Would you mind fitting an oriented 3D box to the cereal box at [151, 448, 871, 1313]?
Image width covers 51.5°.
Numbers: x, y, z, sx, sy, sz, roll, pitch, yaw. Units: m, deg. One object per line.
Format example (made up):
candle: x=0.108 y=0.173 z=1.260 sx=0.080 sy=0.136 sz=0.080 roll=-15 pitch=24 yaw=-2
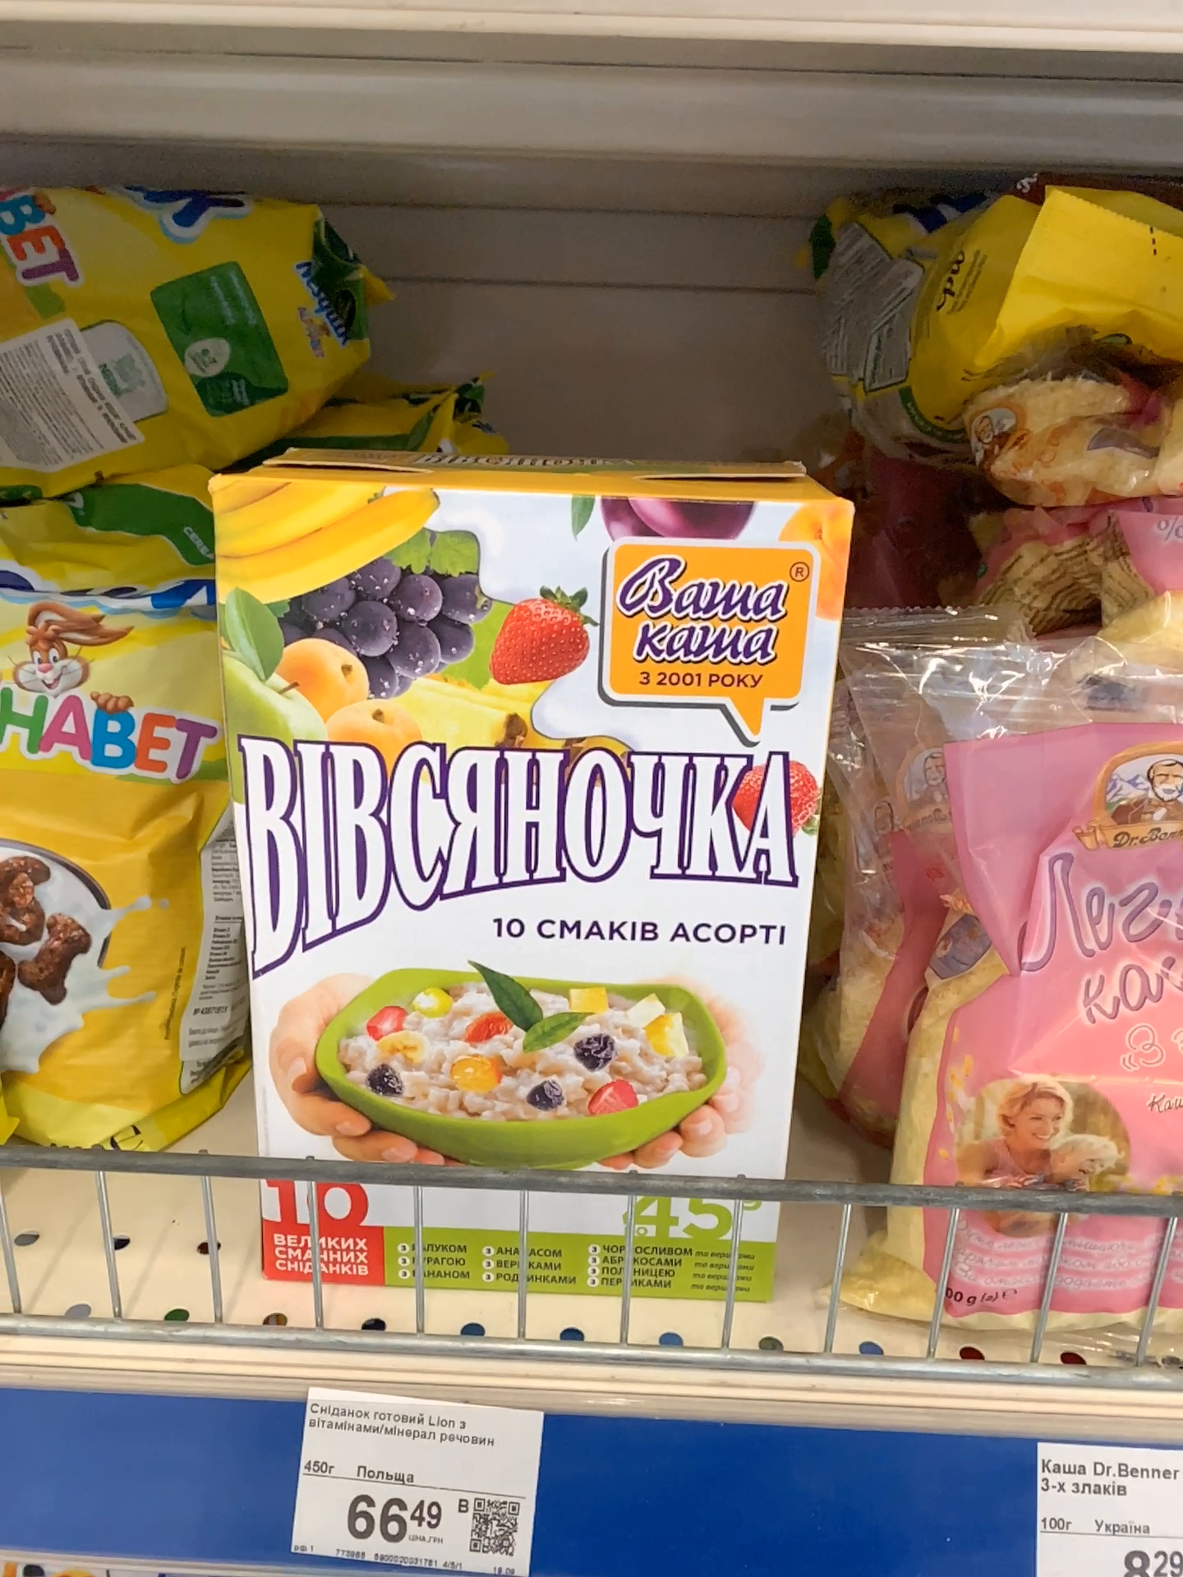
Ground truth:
cereal box: x=-0.019 y=0.024 z=0.322 sx=0.150 sy=0.209 sz=0.070 roll=2 pitch=19 yaw=2
